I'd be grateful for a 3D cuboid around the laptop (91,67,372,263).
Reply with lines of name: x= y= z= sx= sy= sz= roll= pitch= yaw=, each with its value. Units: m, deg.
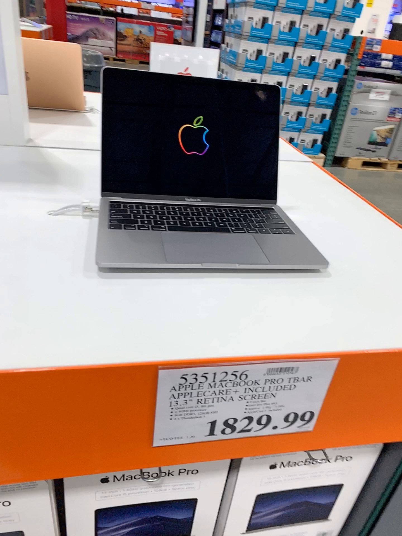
laptop: x=0.006 y=-0.158 z=0.576 sx=0.289 sy=0.165 sz=0.308 roll=0 pitch=32 yaw=-12
